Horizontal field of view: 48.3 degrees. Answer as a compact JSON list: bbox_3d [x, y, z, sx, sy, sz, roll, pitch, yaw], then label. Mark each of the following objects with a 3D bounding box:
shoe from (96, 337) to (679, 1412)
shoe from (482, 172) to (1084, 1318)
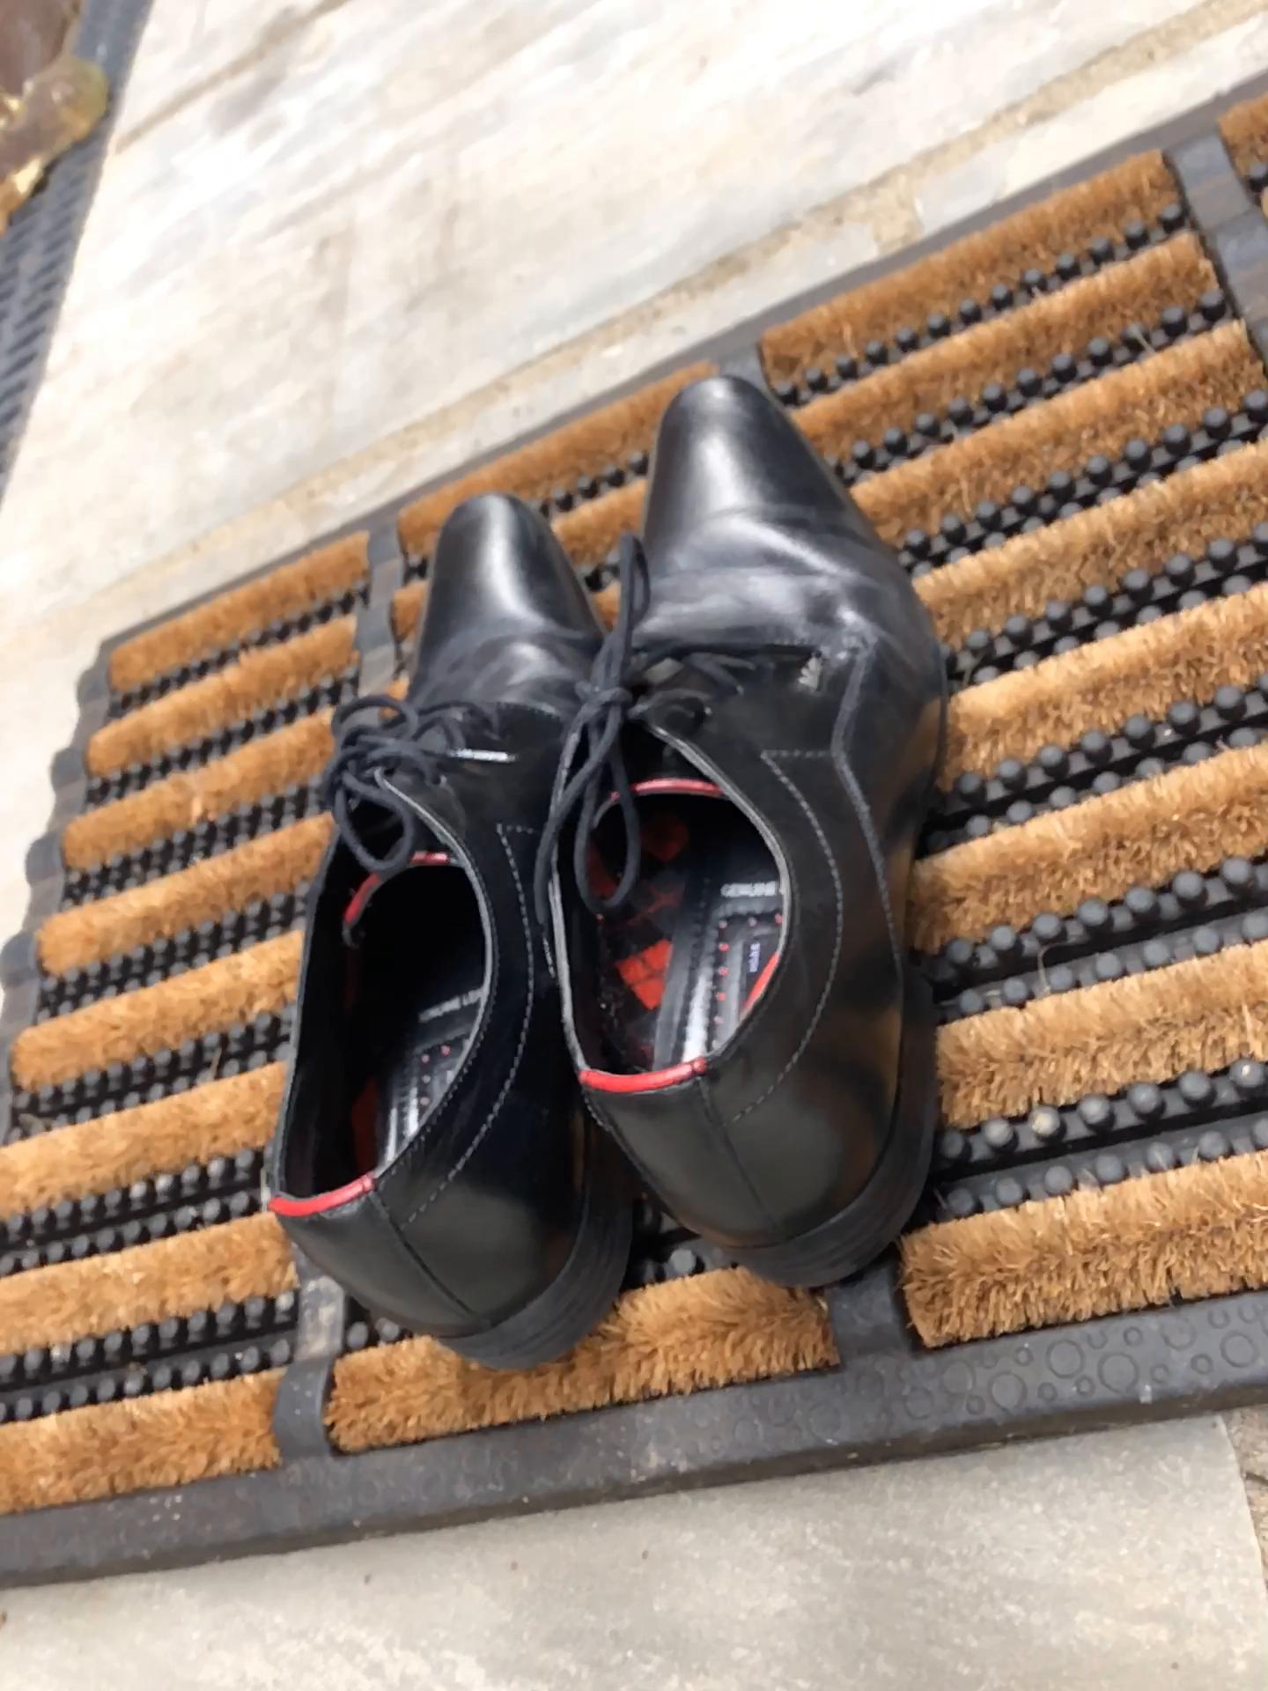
[{"bbox_3d":[-0.059,-0.003,0.428,0.100,0.099,0.302,-18,52,23],"label":"shoe"},{"bbox_3d":[0.034,-0.040,0.395,0.100,0.099,0.302,-18,52,23],"label":"shoe"}]
